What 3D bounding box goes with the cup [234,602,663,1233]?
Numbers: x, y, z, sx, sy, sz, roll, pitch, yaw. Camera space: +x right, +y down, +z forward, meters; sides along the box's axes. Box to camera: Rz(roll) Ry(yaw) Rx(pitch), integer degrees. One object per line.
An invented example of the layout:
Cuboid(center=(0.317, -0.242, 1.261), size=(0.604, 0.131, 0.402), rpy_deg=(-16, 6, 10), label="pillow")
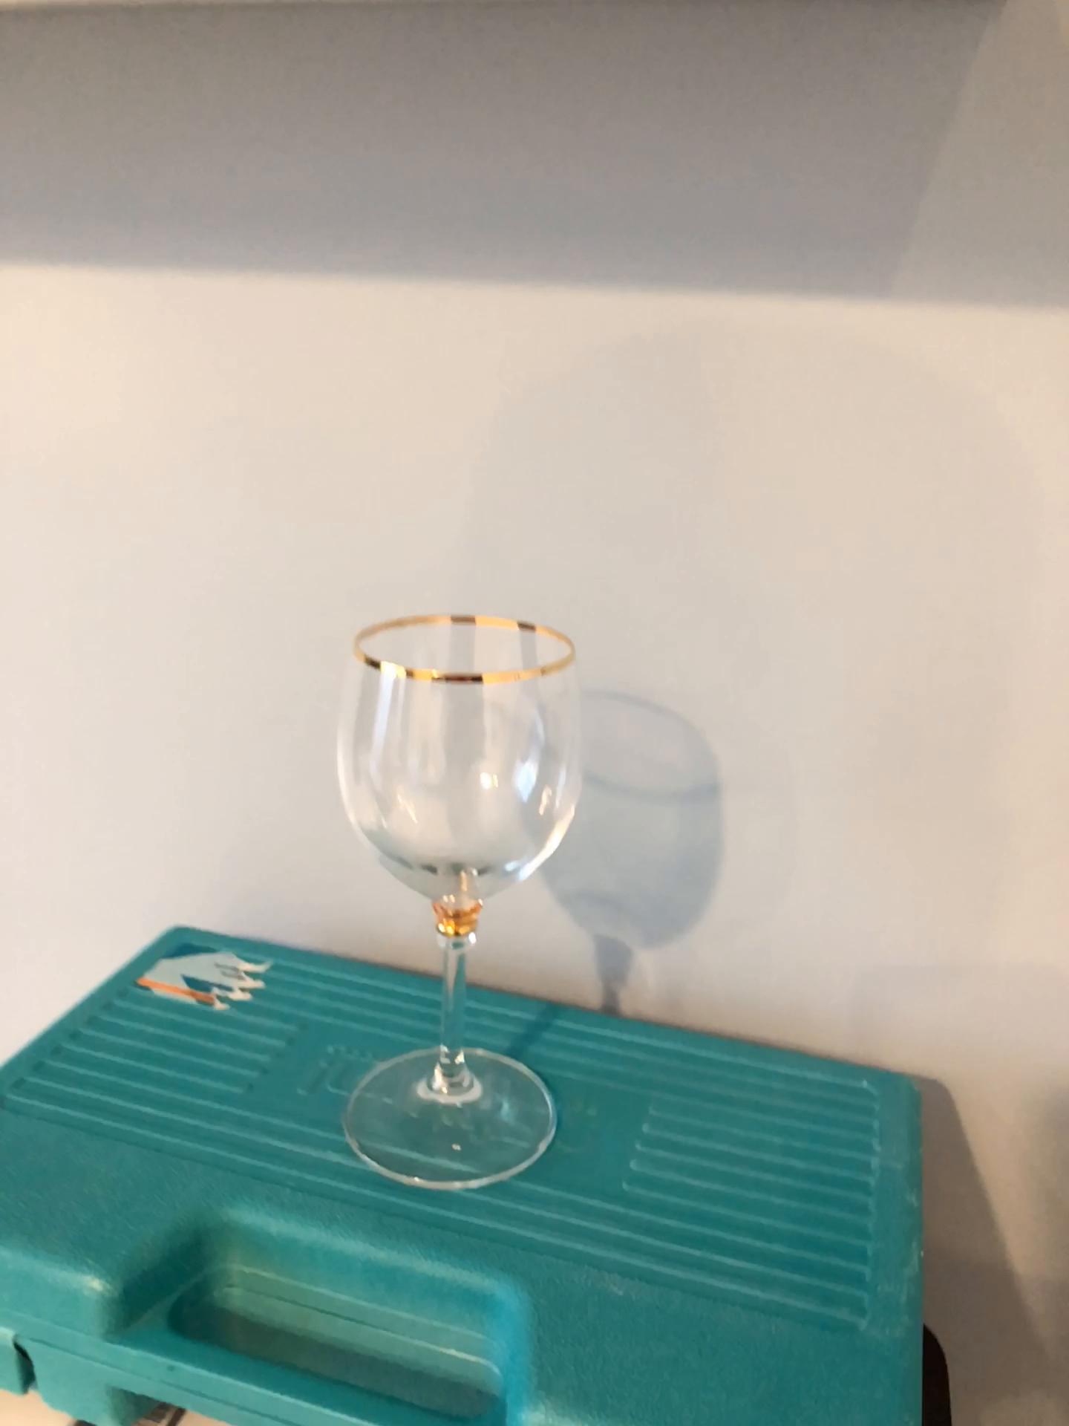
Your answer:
Cuboid(center=(-0.024, 0.058, 0.387), size=(0.100, 0.159, 0.101), rpy_deg=(2, 18, -1), label="cup")
